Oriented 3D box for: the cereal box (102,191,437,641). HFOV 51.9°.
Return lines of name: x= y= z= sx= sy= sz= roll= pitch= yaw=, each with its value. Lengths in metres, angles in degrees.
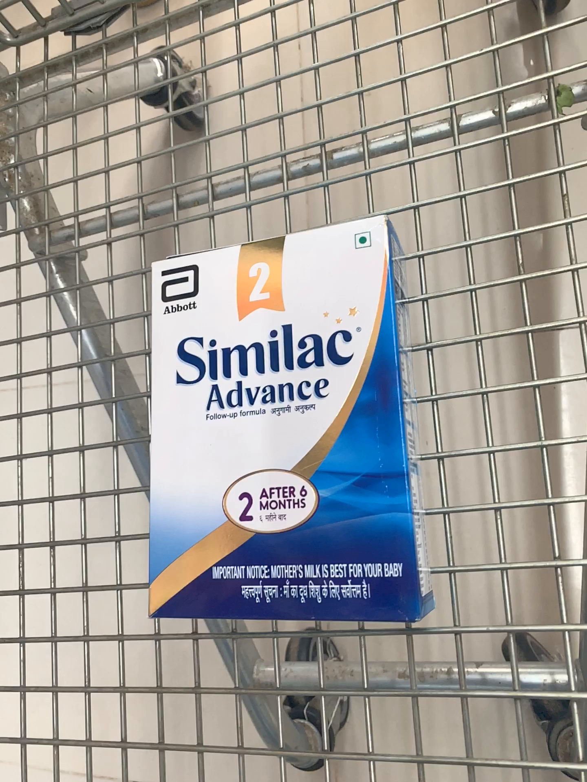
cereal box: x=-0.014 y=0.017 z=0.314 sx=0.150 sy=0.060 sz=0.200 roll=-7 pitch=75 yaw=19
